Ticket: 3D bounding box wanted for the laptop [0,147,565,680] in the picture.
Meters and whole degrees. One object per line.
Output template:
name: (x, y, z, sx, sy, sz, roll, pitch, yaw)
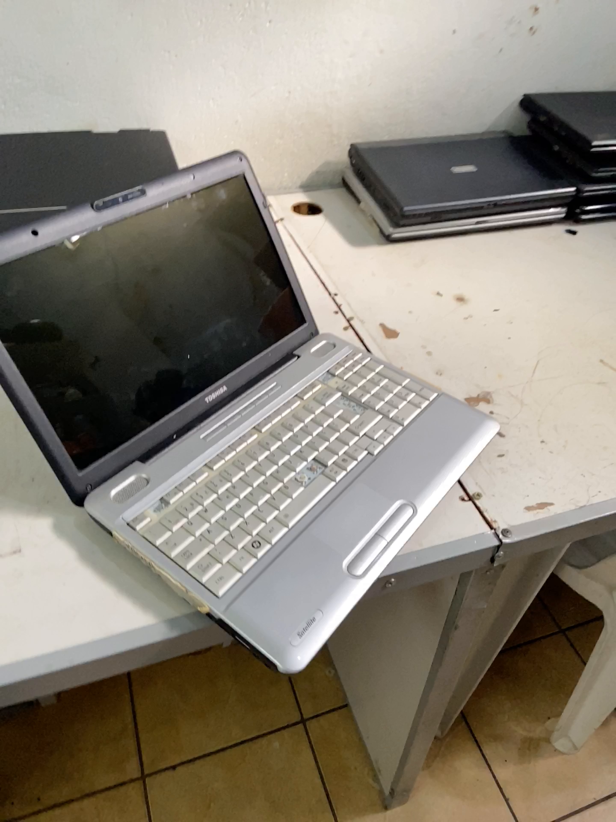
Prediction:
laptop: (-0.040, -0.055, 0.609, 0.399, 0.190, 0.372, 31, 48, 25)
